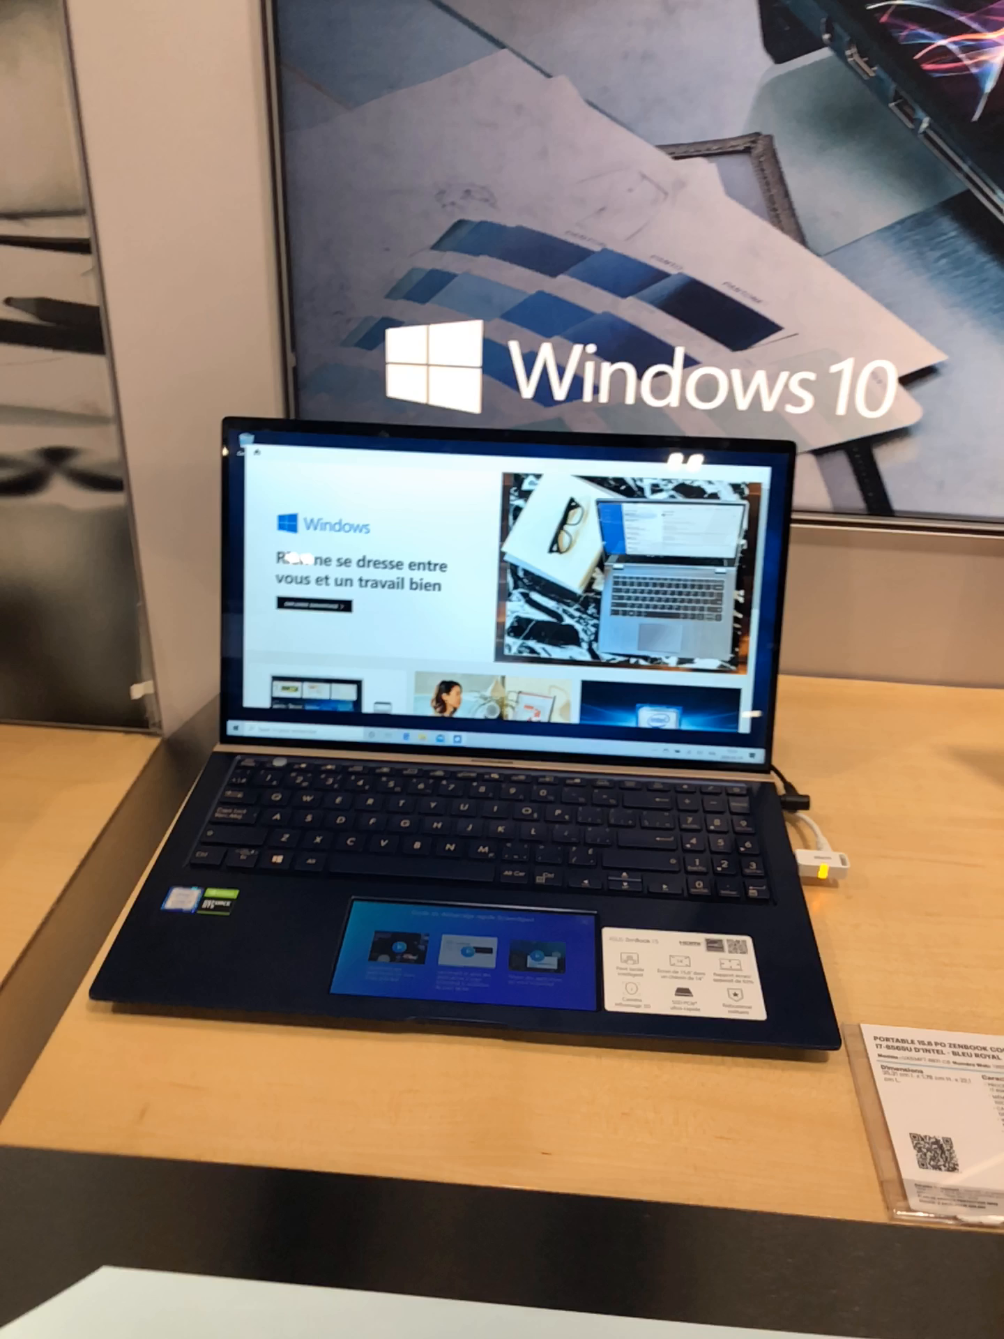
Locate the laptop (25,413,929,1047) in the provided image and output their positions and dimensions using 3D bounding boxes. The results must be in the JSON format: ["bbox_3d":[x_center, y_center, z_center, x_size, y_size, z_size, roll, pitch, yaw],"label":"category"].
[{"bbox_3d":[-0.008,0.008,0.575,0.337,0.183,0.275,4,30,2],"label":"laptop"}]
